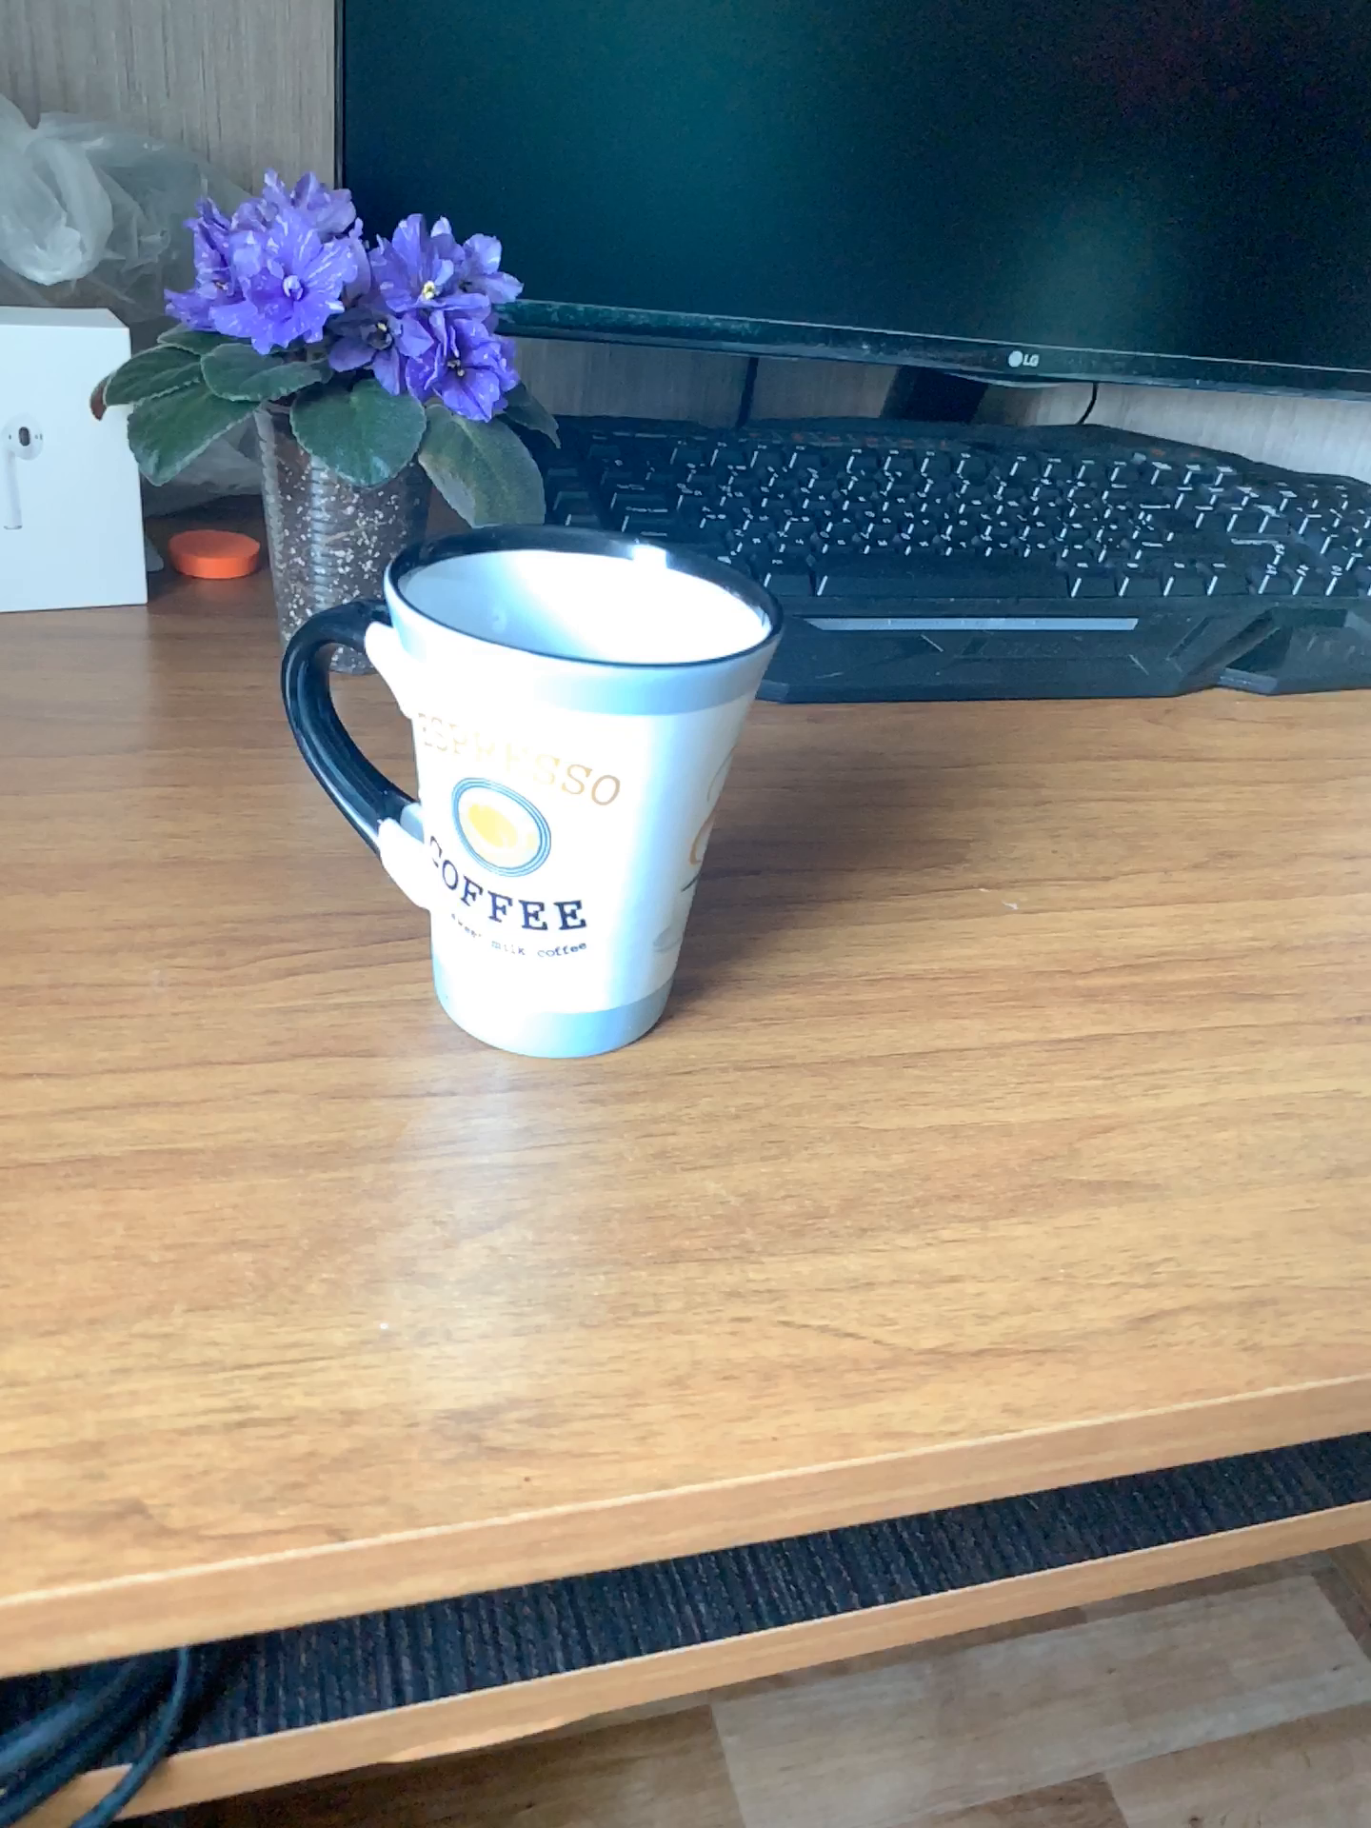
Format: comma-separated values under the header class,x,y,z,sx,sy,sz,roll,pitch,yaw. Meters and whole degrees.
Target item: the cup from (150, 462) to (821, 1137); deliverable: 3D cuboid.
class,x,y,z,sx,sy,sz,roll,pitch,yaw
cup,-0.042,-0.030,0.301,0.110,0.100,0.070,18,32,19
